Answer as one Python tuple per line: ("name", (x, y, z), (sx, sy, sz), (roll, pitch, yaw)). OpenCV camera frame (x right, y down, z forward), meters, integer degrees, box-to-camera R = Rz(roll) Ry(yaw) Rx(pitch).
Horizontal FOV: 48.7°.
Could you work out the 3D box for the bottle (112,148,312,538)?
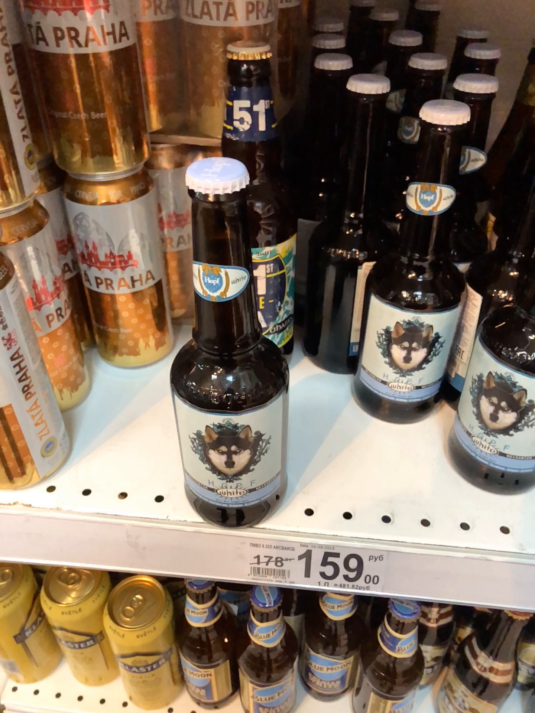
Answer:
("bottle", (-0.023, 0.005, 0.332), (0.080, 0.219, 0.070), (1, 38, 0))
